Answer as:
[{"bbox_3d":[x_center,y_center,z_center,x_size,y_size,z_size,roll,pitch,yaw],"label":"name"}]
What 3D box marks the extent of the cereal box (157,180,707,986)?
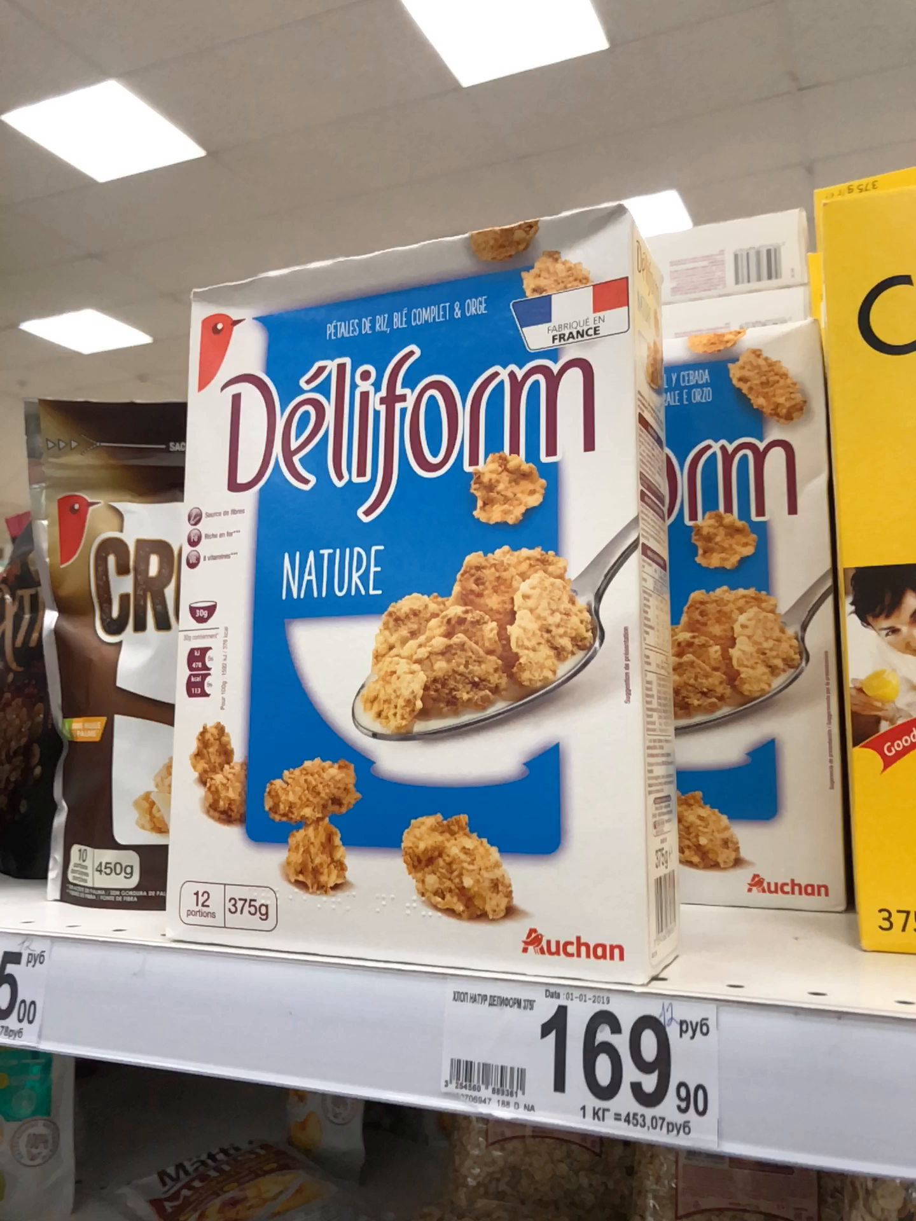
[{"bbox_3d":[-0.013,-0.009,0.401,0.200,0.271,0.060,-3,-9,22],"label":"cereal box"}]
